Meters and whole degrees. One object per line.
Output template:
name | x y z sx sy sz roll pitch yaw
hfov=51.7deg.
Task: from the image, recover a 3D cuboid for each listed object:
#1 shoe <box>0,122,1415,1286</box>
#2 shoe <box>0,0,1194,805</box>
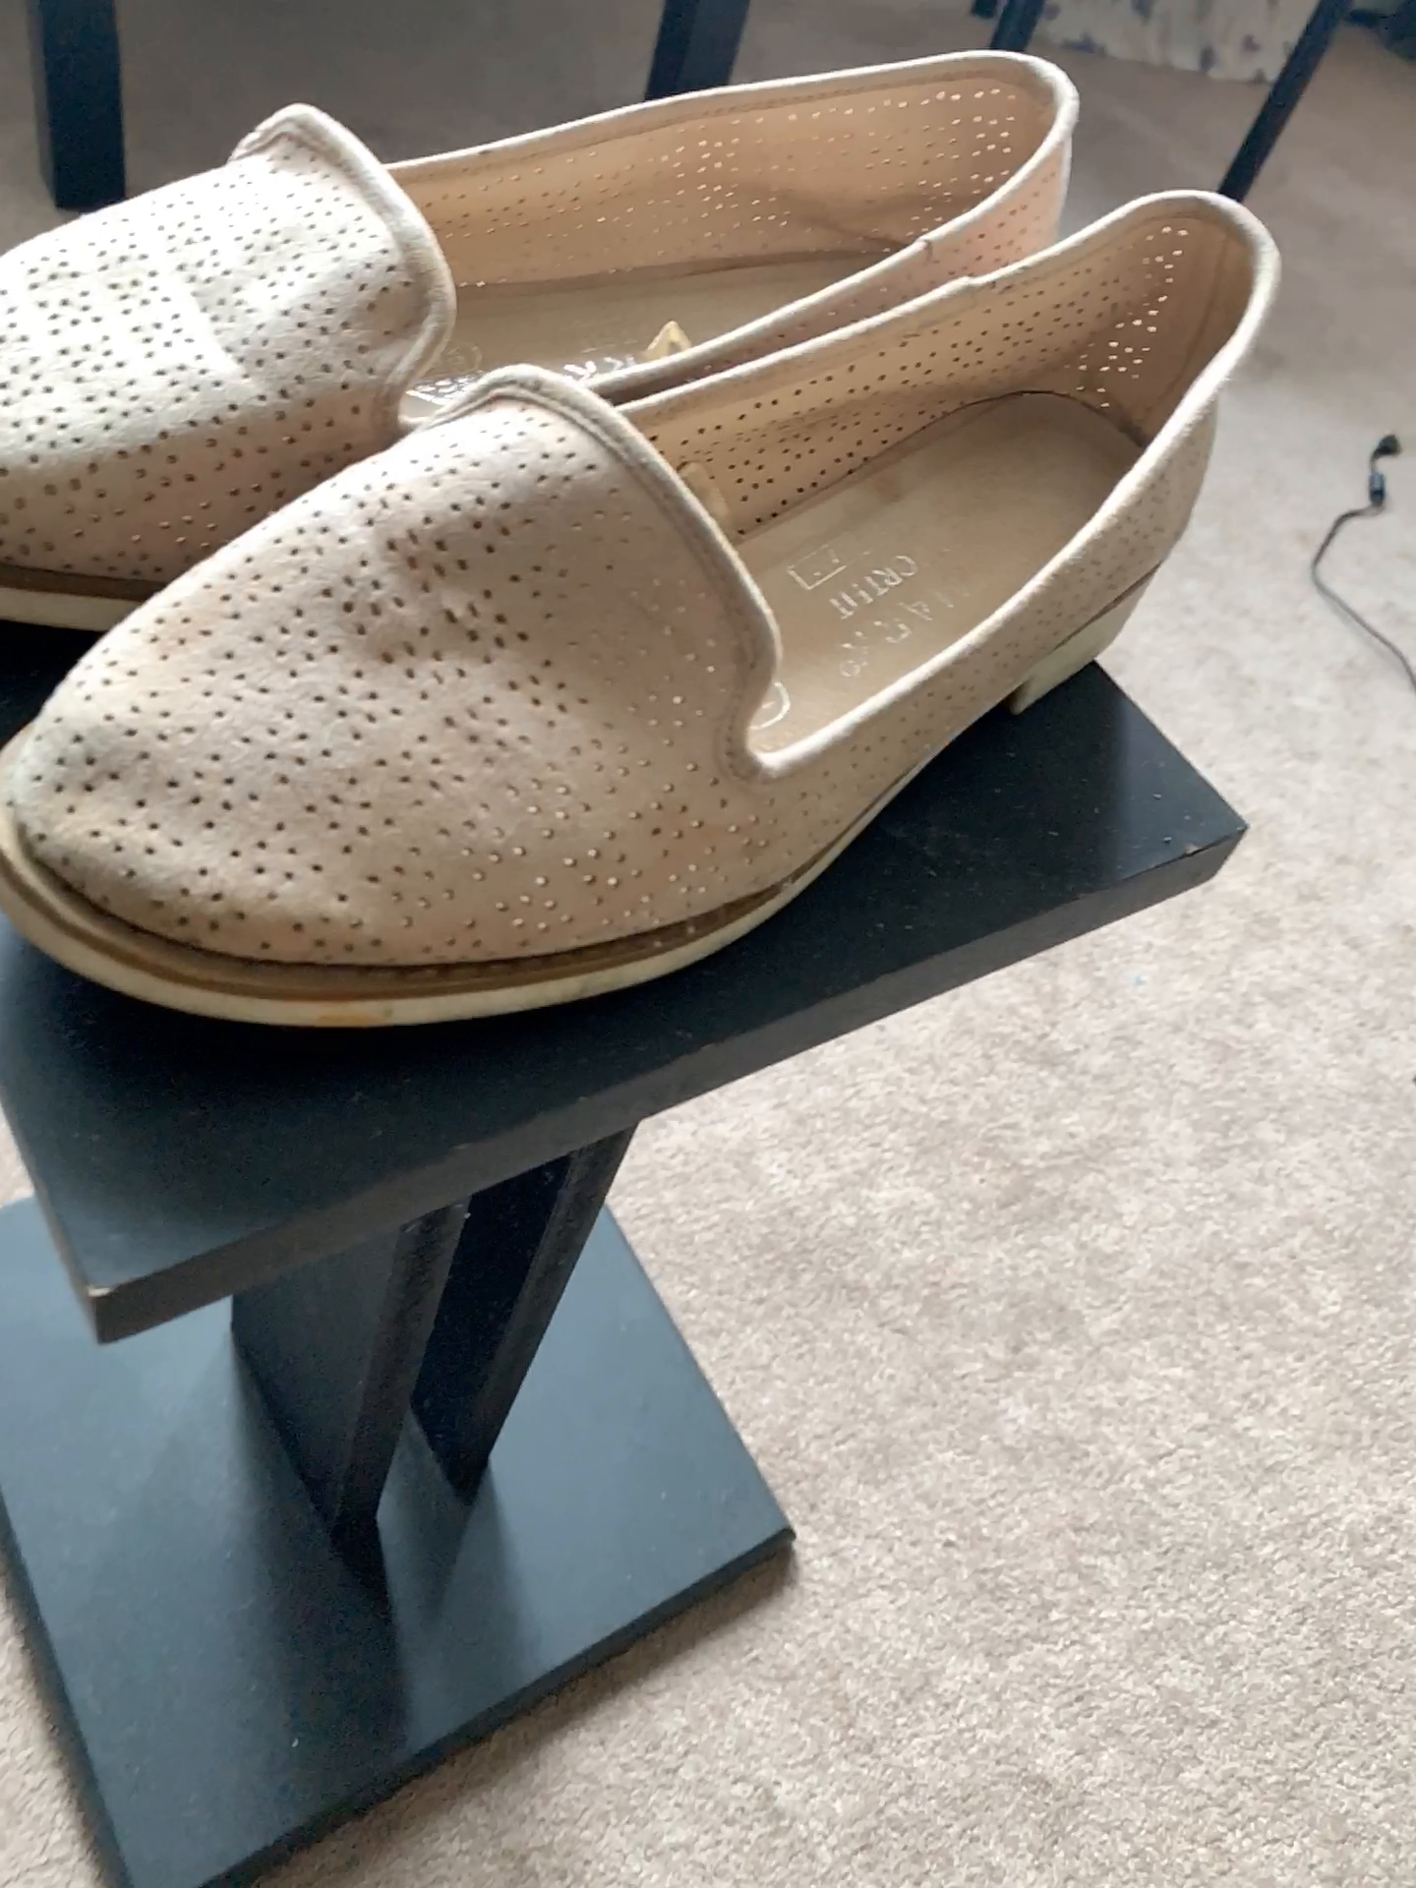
shoe | 0.009 -0.055 0.260 0.251 0.079 0.080 -31 67 -24
shoe | -0.036 -0.119 0.296 0.251 0.079 0.080 -21 62 -22
